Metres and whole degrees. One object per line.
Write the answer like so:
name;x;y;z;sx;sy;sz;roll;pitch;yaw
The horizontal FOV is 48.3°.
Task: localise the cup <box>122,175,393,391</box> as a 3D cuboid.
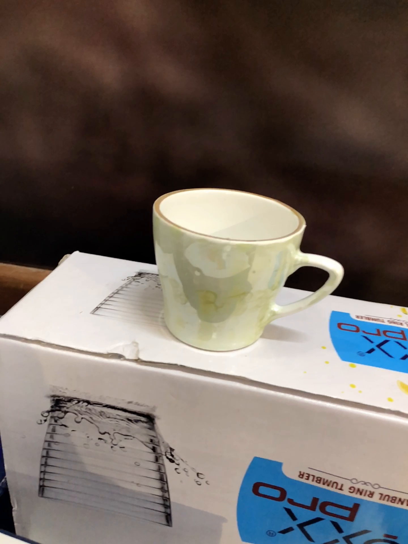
cup;0.021;0.000;0.213;0.100;0.060;0.070;9;28;4
